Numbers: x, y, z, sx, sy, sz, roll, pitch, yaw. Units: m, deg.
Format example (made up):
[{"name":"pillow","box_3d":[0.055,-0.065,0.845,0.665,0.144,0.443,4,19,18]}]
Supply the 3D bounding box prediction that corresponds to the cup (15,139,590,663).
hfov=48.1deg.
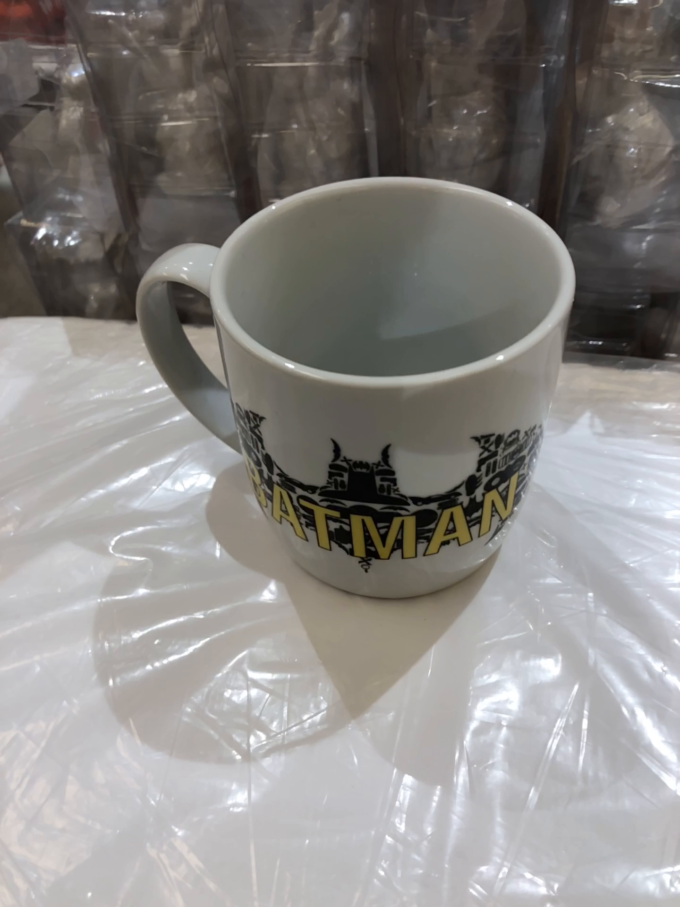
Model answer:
[{"name":"cup","box_3d":[-0.004,-0.018,0.210,0.110,0.089,0.080,17,50,18]}]
